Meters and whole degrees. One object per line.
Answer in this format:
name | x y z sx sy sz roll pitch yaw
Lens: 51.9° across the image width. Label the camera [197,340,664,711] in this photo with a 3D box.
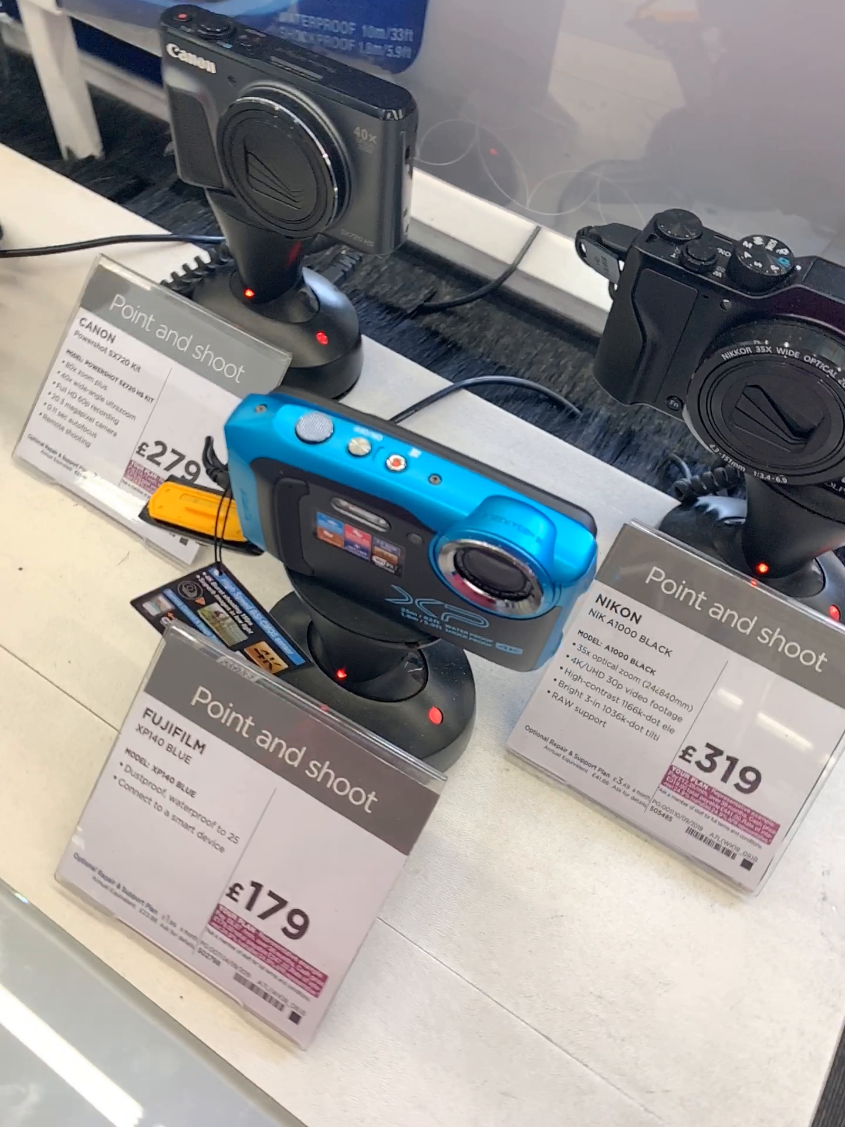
camera | -0.001 -0.009 0.233 0.110 0.060 0.030 24 59 10
